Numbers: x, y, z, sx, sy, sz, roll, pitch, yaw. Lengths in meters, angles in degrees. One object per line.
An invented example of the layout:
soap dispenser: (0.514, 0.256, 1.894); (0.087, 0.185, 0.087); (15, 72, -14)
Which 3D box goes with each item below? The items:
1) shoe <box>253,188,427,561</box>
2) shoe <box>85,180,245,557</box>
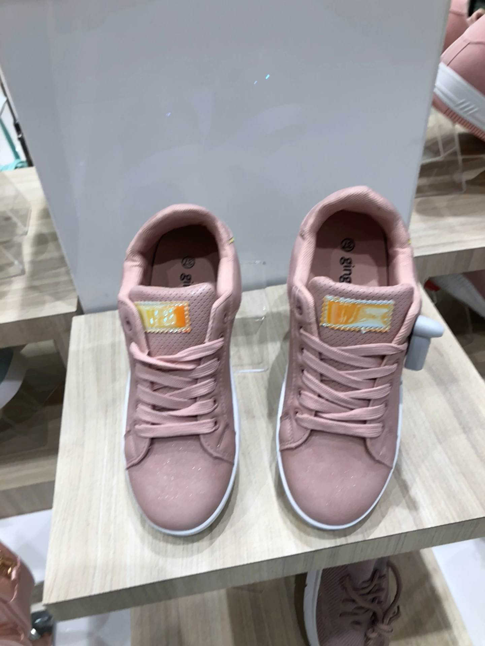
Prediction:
shoe: (0.075, 0.033, 0.421); (0.100, 0.250, 0.100); (5, 0, 10)
shoe: (-0.053, 0.032, 0.426); (0.100, 0.100, 0.260); (-1, 83, 5)
